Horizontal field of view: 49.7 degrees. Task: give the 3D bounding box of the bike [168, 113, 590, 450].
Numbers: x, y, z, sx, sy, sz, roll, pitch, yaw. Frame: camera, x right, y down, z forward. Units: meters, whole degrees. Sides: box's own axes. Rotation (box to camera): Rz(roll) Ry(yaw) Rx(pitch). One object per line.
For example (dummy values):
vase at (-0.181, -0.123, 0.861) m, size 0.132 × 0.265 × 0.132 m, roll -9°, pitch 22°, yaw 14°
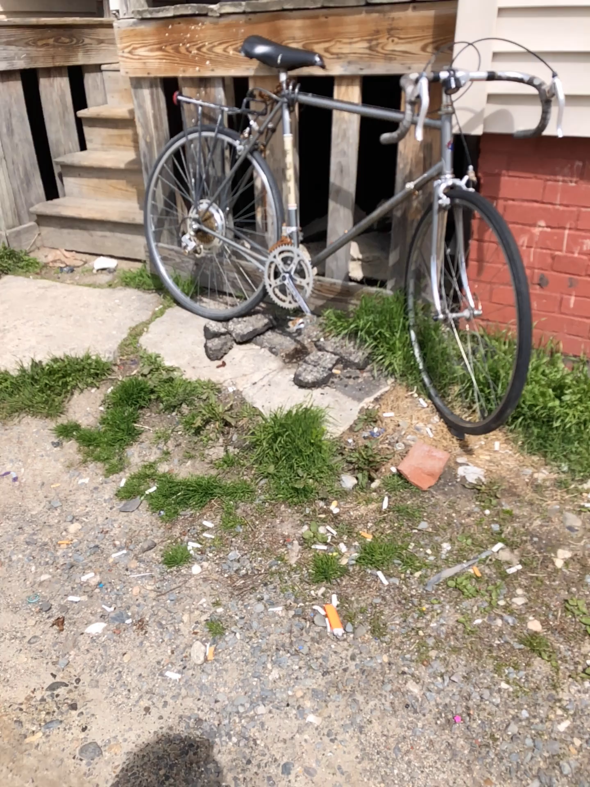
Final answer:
bike at (0.184, -0.393, 1.609) m, size 0.400 × 0.478 × 1.204 m, roll -24°, pitch 36°, yaw -37°
